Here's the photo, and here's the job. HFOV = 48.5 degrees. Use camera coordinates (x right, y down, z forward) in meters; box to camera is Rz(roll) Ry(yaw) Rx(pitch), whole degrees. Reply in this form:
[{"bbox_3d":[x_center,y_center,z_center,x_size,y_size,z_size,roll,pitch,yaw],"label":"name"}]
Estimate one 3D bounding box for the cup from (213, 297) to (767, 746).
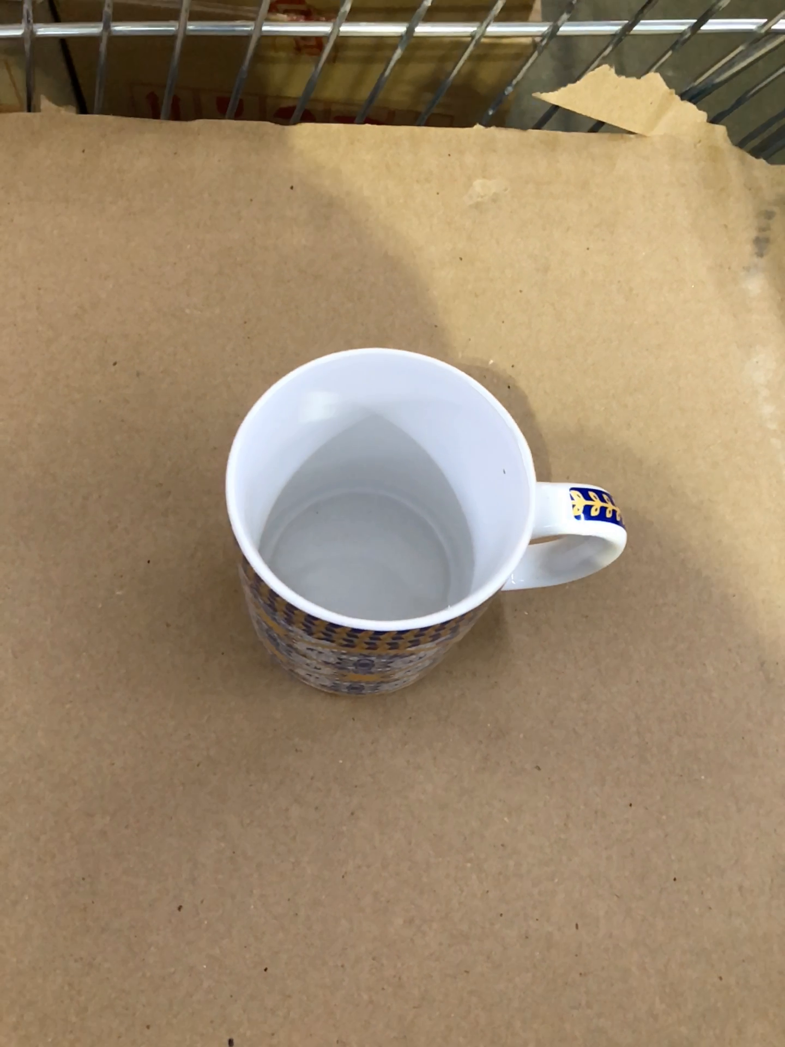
[{"bbox_3d":[0.017,0.004,0.258,0.120,0.100,0.080,-10,66,-10],"label":"cup"}]
